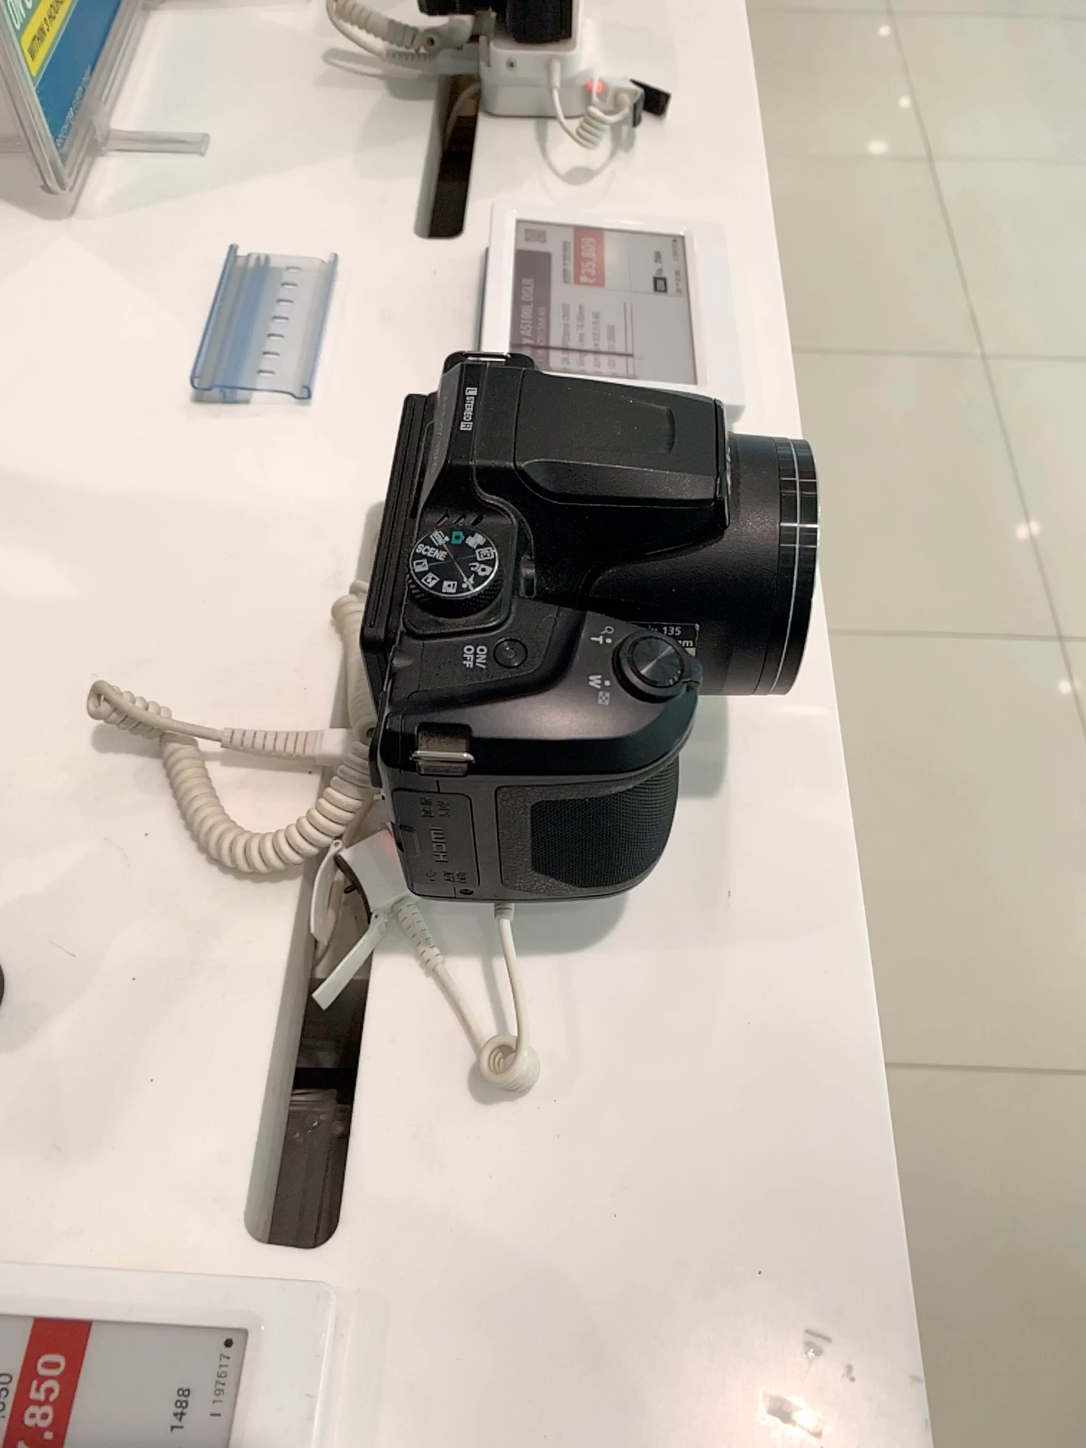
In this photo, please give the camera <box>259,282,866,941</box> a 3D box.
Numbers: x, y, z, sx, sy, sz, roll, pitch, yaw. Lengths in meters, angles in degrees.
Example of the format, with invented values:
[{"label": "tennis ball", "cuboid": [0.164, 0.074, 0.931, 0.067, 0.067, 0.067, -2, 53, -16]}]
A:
[{"label": "camera", "cuboid": [0.006, -0.026, 0.251, 0.100, 0.080, 0.120, 2, 56, 1]}]
